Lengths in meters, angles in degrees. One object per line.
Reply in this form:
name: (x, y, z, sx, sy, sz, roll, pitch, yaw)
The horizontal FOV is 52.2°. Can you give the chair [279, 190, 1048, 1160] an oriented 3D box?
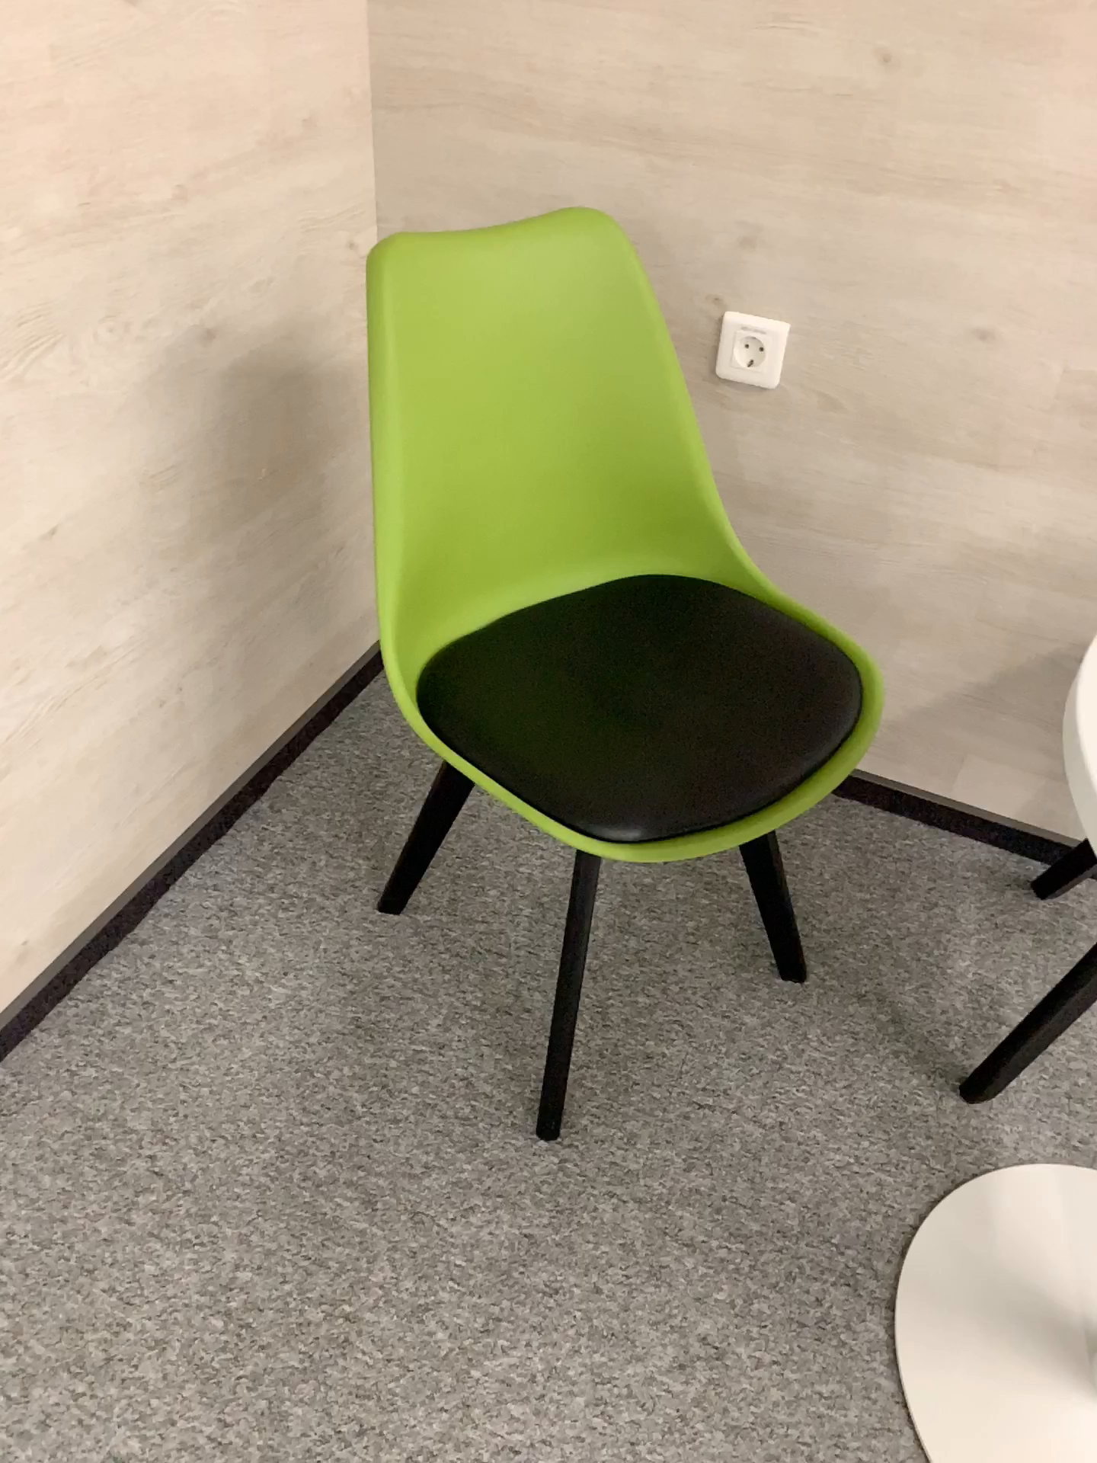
chair: (0.069, -0.061, 1.264, 0.491, 0.865, 0.482, -22, 45, -28)
